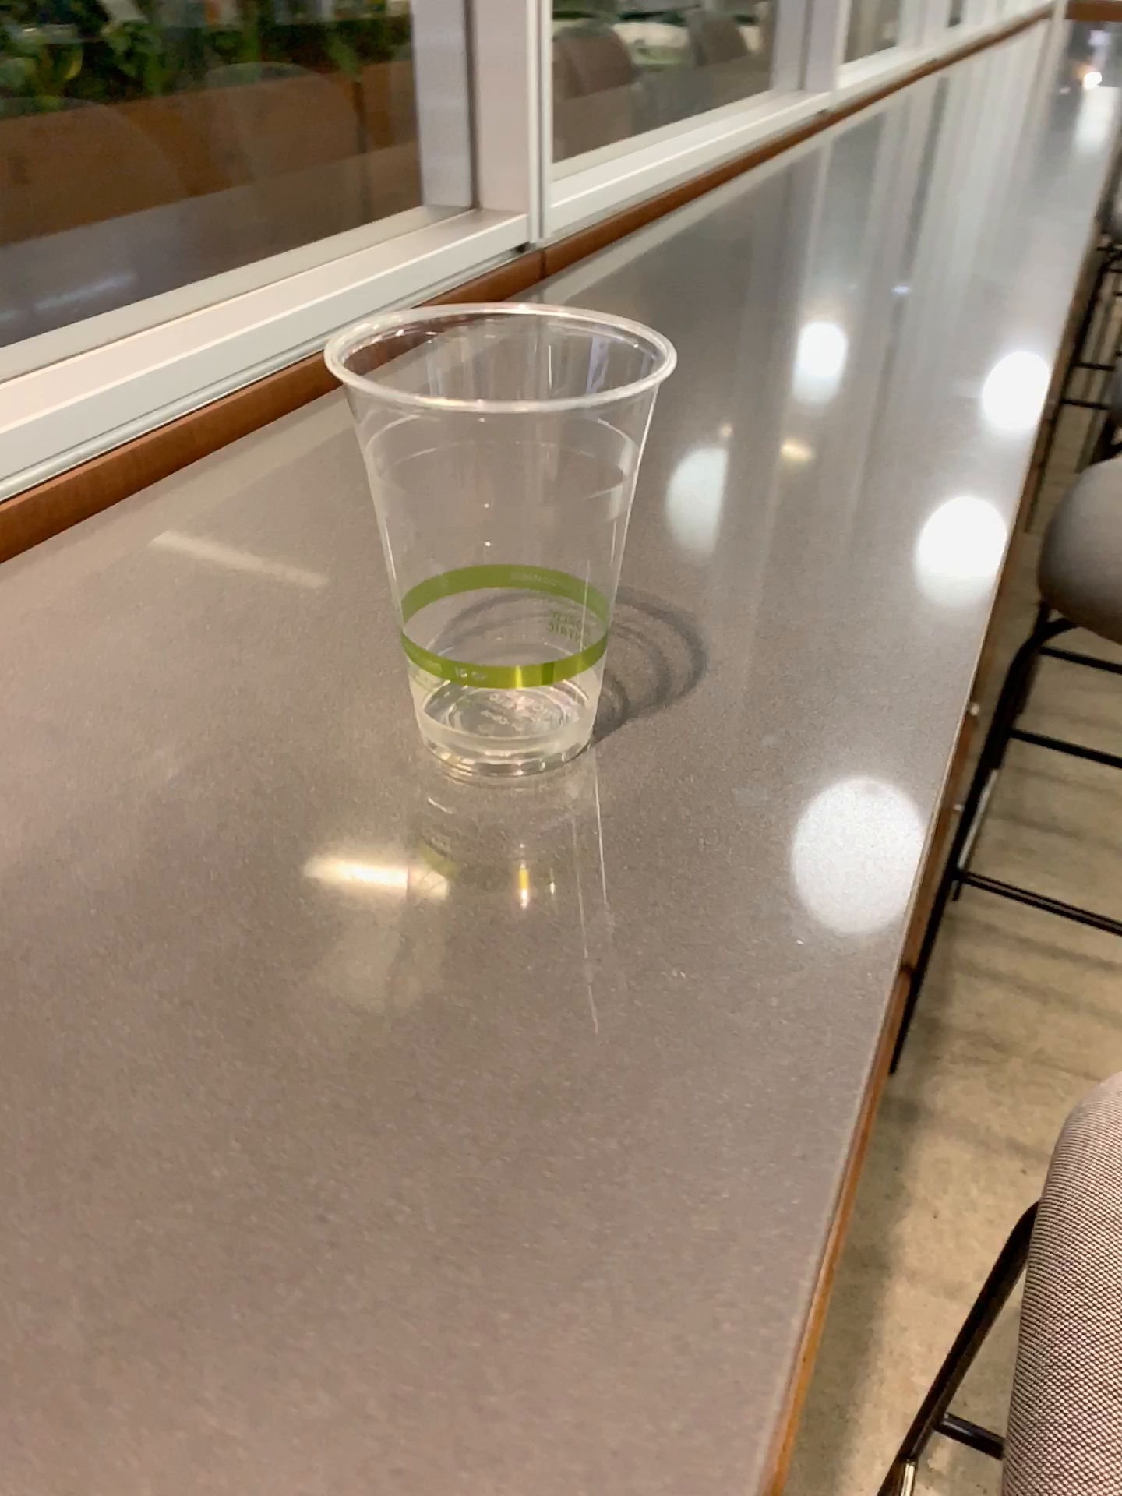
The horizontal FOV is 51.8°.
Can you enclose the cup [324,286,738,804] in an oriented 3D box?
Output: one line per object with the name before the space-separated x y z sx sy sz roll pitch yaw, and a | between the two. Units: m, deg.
cup | -0.016 -0.069 0.367 0.100 0.119 0.111 -7 35 -10
